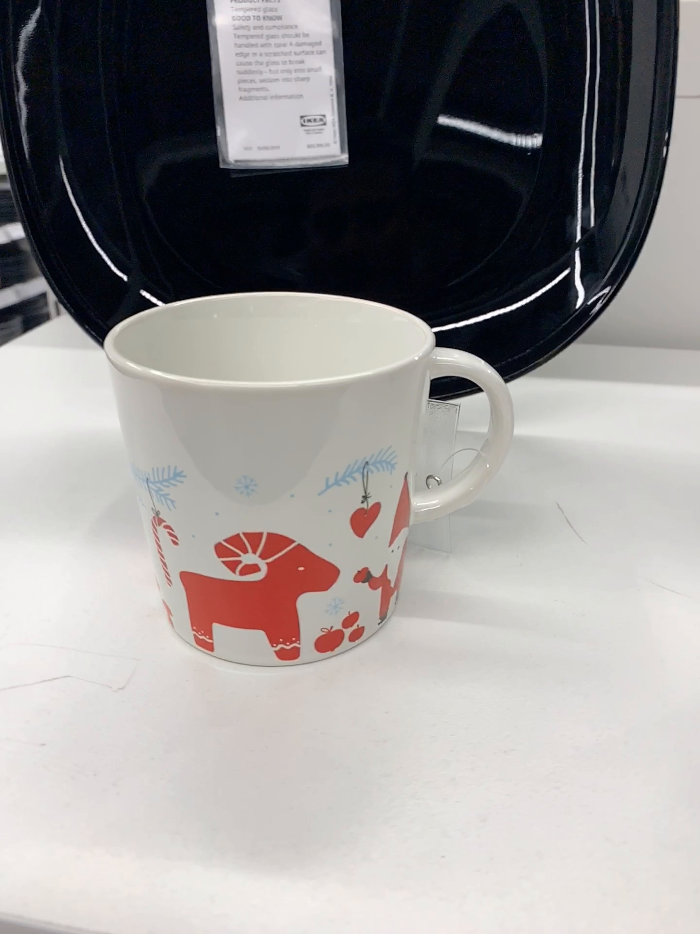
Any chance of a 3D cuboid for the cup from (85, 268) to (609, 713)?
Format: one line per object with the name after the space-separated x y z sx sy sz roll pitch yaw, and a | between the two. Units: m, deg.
-0.008 -0.004 0.219 0.120 0.090 0.090 -6 26 -14 | cup
